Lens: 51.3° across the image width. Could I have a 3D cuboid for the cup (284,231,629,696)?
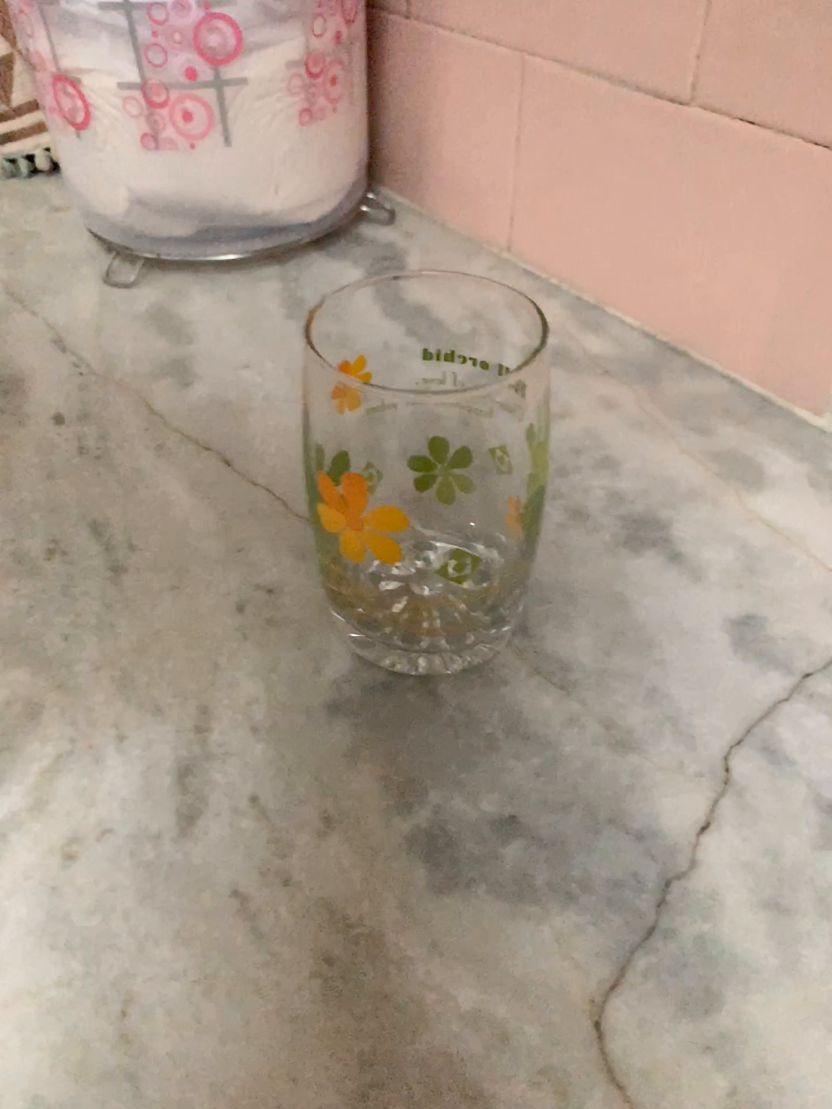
[{"bbox_3d":[0.006,-0.024,0.242,0.070,0.100,0.070,-1,43,1],"label":"cup"}]
